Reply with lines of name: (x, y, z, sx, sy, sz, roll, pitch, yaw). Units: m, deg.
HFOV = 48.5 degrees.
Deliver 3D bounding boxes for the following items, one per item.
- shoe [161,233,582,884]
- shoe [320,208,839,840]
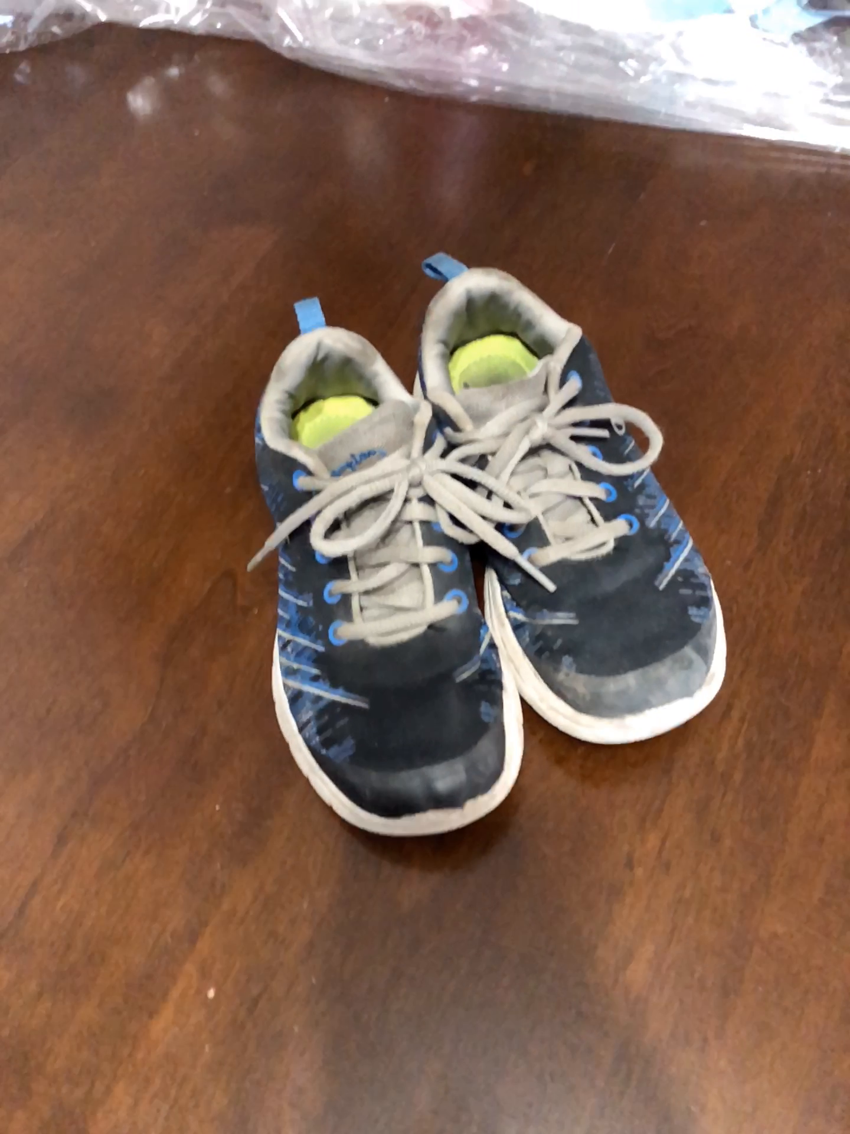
shoe: (-0.028, -0.012, 0.363, 0.100, 0.090, 0.221, -14, 57, -4)
shoe: (0.045, -0.027, 0.385, 0.100, 0.090, 0.231, -19, 58, -7)
